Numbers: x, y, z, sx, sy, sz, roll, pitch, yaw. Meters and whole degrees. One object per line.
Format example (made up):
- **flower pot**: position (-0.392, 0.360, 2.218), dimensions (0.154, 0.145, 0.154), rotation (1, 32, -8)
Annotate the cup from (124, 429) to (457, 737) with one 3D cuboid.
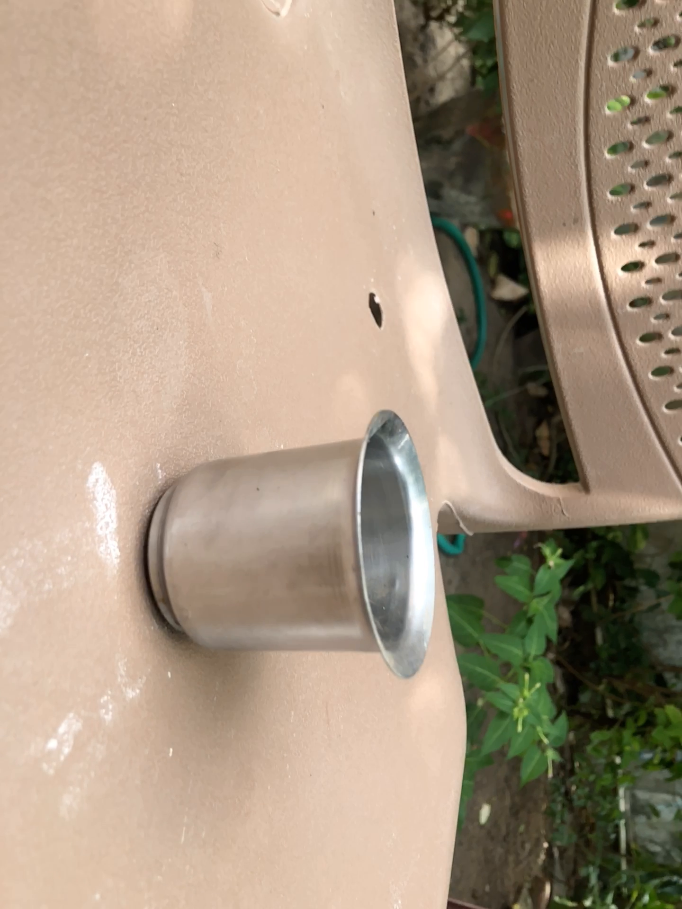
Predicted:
- **cup**: position (-0.009, 0.027, 0.189), dimensions (0.060, 0.060, 0.060), rotation (-2, 90, -65)
